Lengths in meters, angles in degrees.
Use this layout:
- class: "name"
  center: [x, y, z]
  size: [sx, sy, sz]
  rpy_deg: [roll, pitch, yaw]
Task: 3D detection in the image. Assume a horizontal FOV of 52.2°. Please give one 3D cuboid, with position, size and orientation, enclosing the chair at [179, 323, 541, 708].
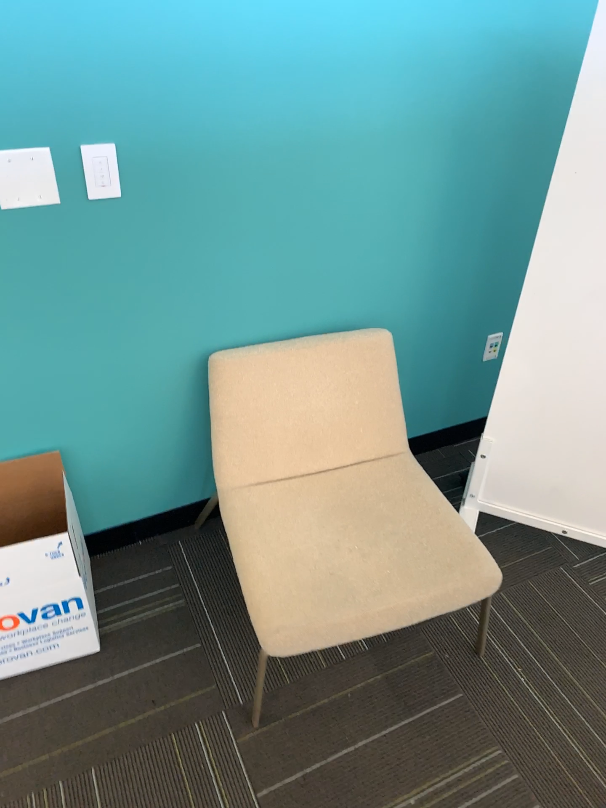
- class: "chair"
  center: [0.081, 0.242, 1.711]
  size: [0.660, 0.567, 0.734]
  rpy_deg: [-11, 38, -17]
